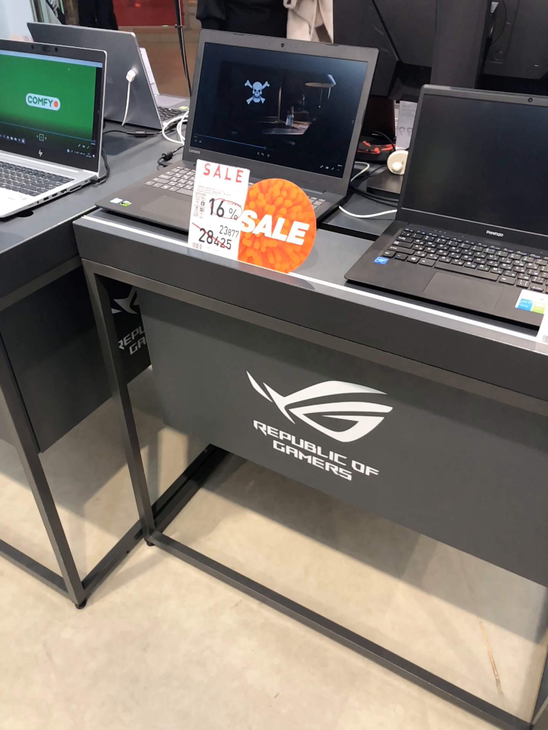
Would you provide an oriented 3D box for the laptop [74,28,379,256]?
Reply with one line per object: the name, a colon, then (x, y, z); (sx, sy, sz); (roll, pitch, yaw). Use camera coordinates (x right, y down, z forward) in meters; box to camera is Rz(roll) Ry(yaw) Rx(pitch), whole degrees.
laptop: (-0.071, -0.418, 1.071); (0.383, 0.235, 0.336); (20, 43, 25)
